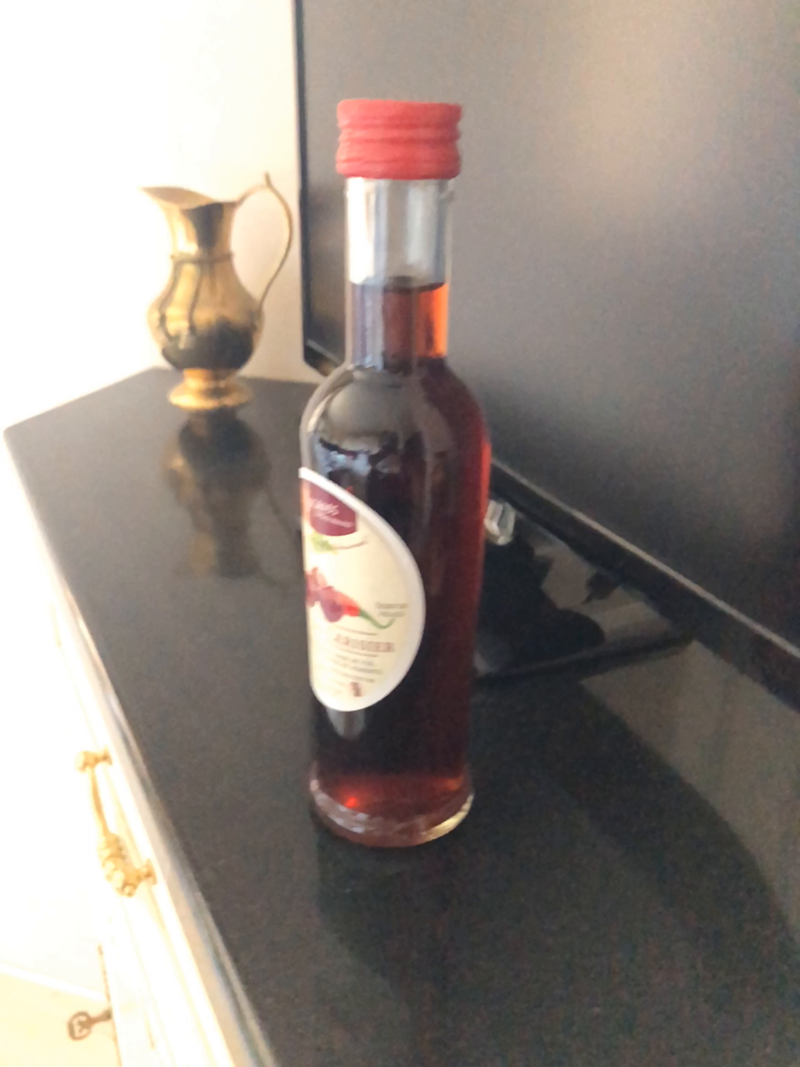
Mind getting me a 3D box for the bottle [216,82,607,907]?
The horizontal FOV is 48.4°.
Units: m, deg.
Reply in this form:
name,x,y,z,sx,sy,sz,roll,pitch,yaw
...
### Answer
name,x,y,z,sx,sy,sz,roll,pitch,yaw
bottle,0.000,-0.009,0.266,0.070,0.219,0.070,0,23,0
